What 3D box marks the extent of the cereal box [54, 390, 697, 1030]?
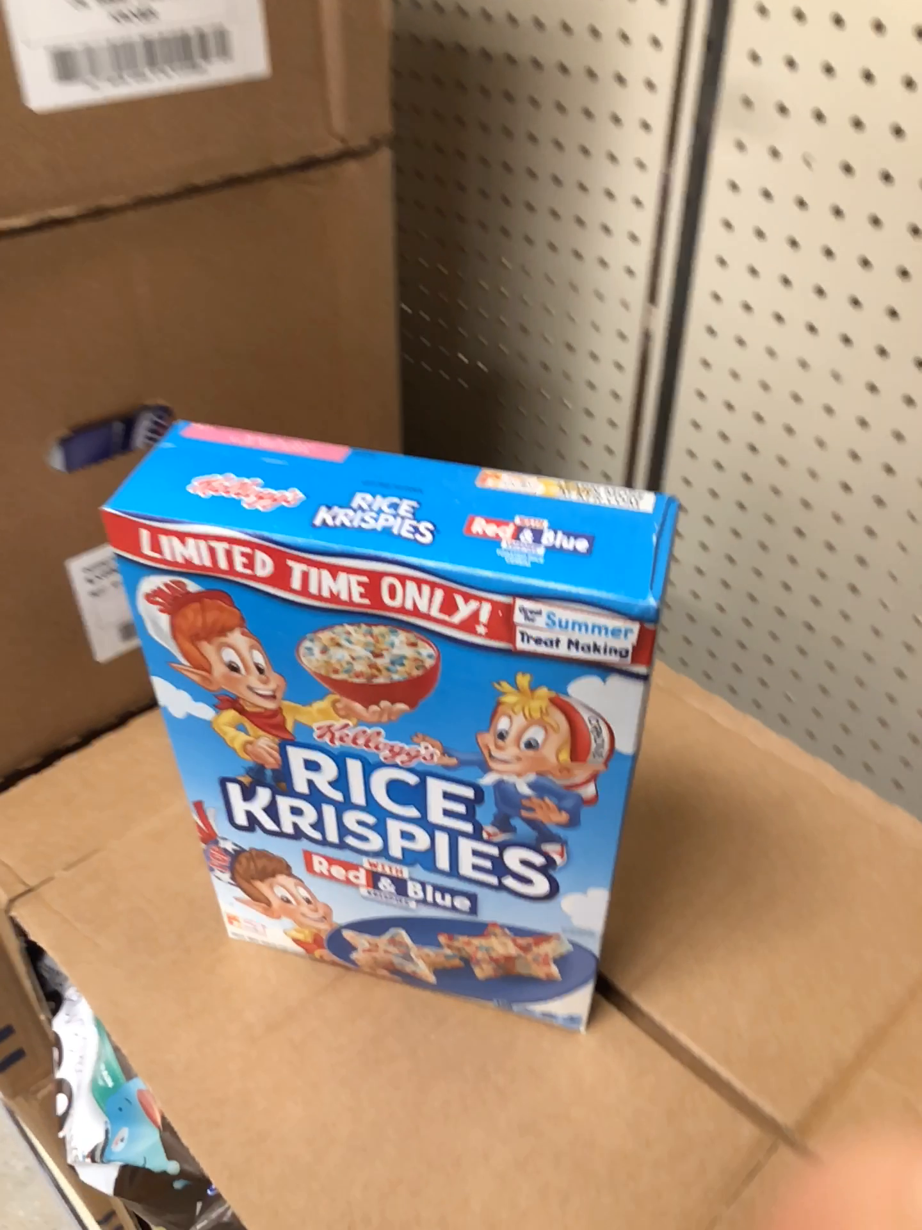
[{"bbox_3d":[-0.024,0.056,0.427,0.200,0.279,0.060,10,45,13],"label":"cereal box"}]
